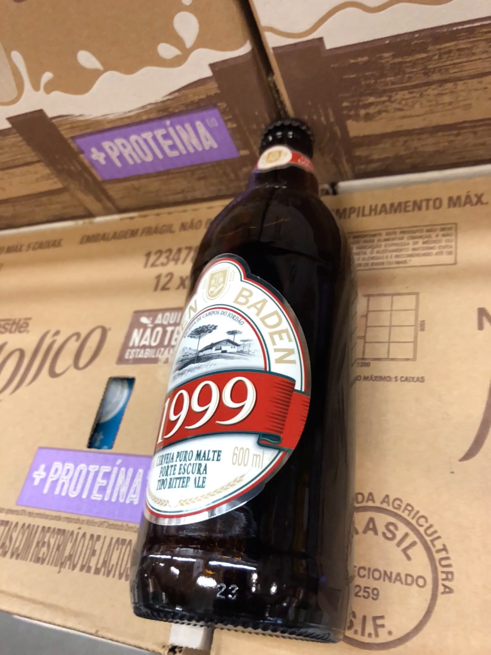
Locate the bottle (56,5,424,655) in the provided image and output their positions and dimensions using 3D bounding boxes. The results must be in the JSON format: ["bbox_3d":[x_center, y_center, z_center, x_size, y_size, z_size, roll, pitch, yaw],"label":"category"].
[{"bbox_3d":[0.020,-0.011,0.254,0.090,0.099,0.281,-7,55,21],"label":"bottle"}]
